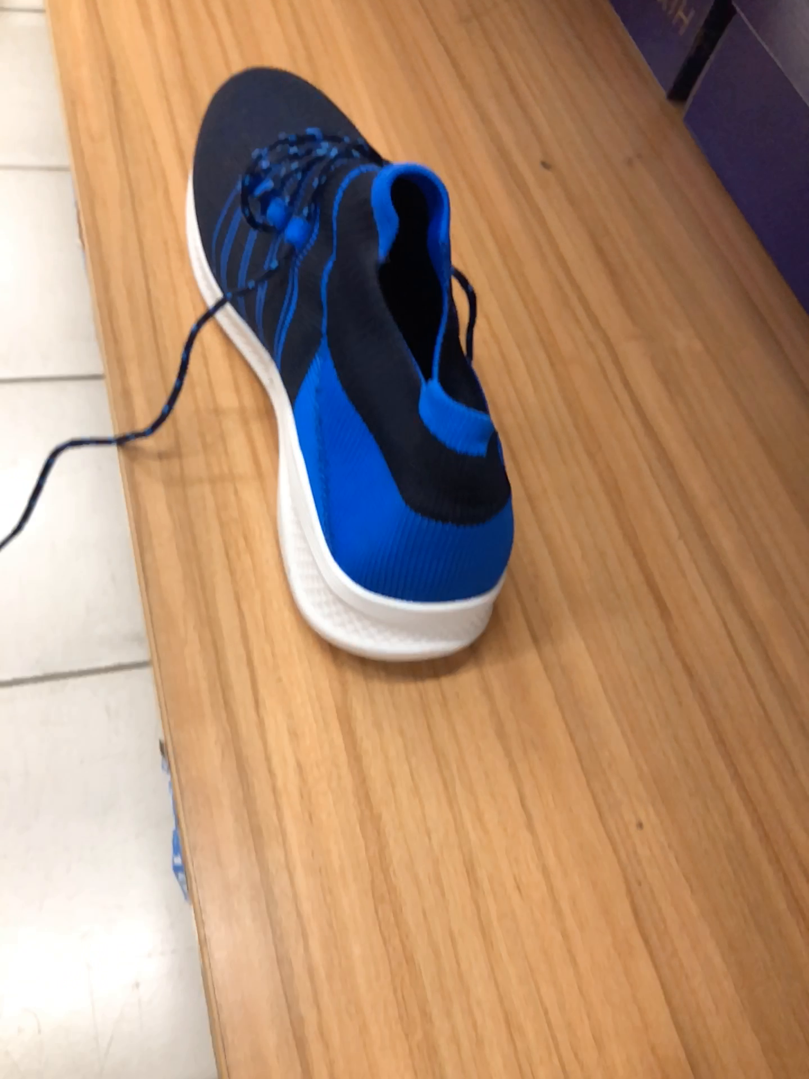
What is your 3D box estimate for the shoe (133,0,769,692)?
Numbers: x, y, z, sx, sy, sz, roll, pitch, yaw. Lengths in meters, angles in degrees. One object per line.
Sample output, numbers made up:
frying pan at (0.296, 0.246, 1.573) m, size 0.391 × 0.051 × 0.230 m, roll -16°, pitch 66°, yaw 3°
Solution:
shoe at (-0.012, -0.100, 0.309) m, size 0.110 × 0.109 × 0.261 m, roll -9°, pitch 62°, yaw -21°
